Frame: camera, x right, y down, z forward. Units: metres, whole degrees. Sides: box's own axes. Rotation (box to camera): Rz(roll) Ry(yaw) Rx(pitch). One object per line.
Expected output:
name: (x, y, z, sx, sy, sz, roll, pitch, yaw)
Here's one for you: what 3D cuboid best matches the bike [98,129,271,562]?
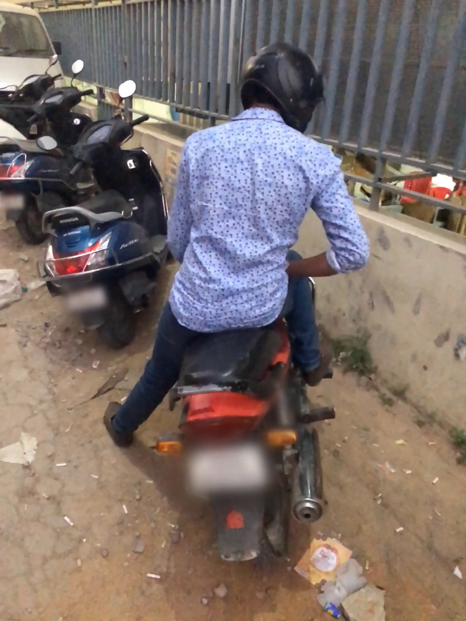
bike: (-0.211, -0.082, 2.109, 0.424, 0.830, 1.662, 2, 32, -5)
